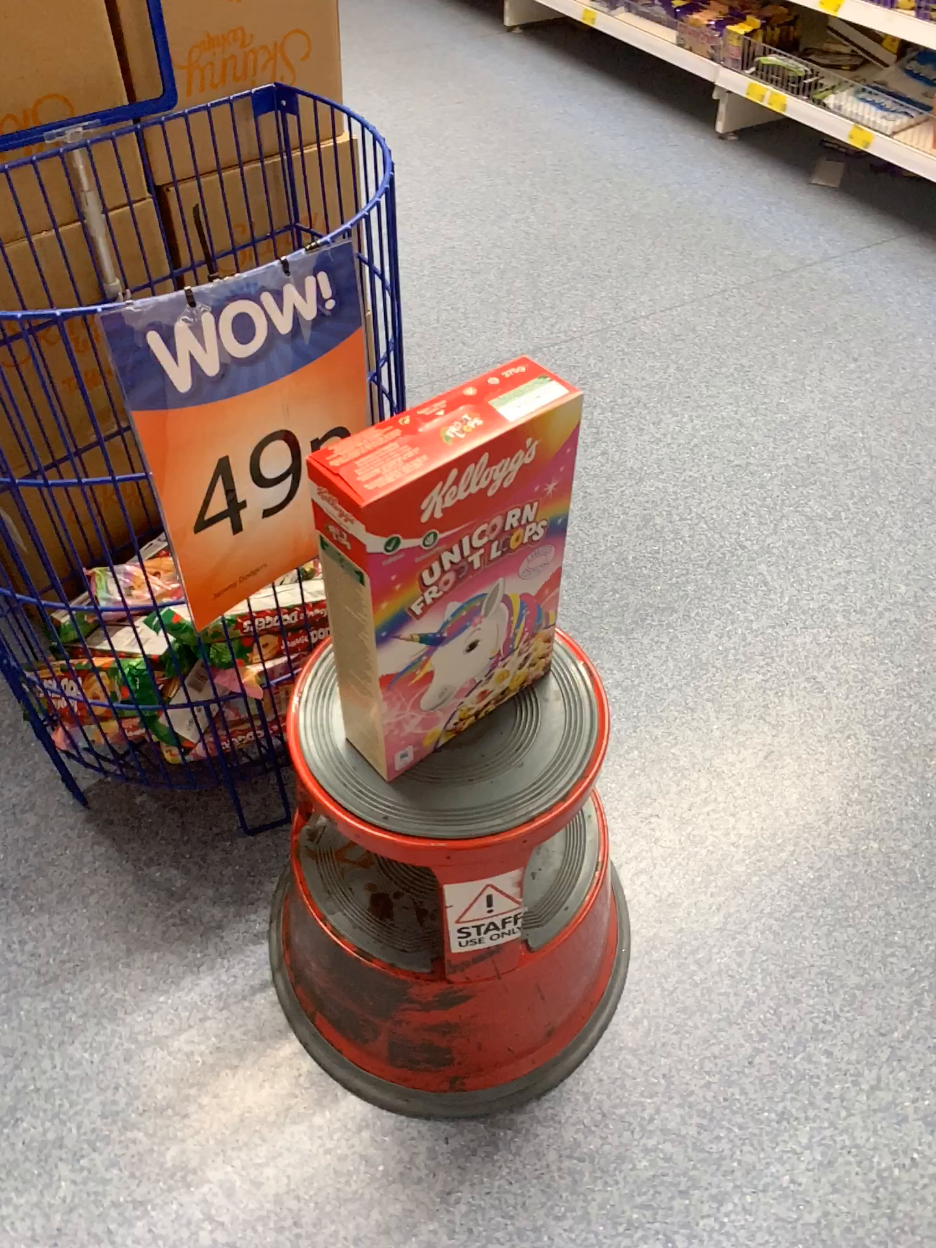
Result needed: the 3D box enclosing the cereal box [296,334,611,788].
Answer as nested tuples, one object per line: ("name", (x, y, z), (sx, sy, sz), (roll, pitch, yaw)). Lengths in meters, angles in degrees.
("cereal box", (-0.005, -0.039, 0.718), (0.211, 0.287, 0.070), (-33, 55, -28))
